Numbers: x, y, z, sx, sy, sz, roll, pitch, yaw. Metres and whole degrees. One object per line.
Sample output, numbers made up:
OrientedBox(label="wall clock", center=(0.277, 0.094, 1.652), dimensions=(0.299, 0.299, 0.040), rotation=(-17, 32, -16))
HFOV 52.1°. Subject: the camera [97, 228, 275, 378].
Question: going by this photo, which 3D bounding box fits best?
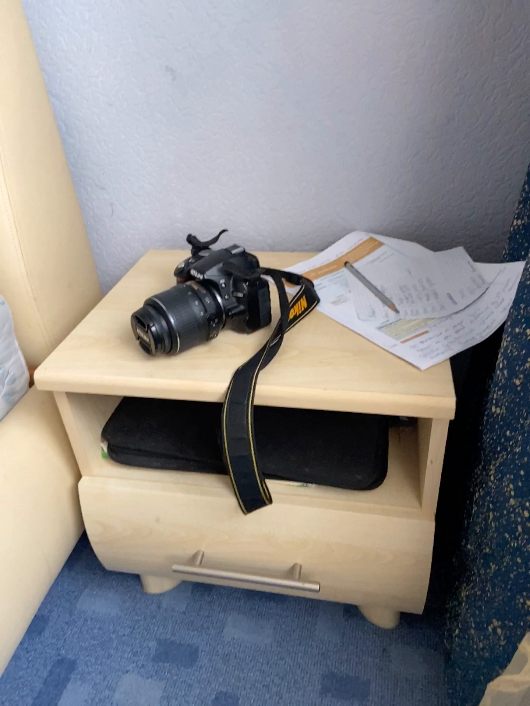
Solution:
OrientedBox(label="camera", center=(-0.087, -0.065, 0.627), dimensions=(0.152, 0.091, 0.118), rotation=(-29, 40, -32))
